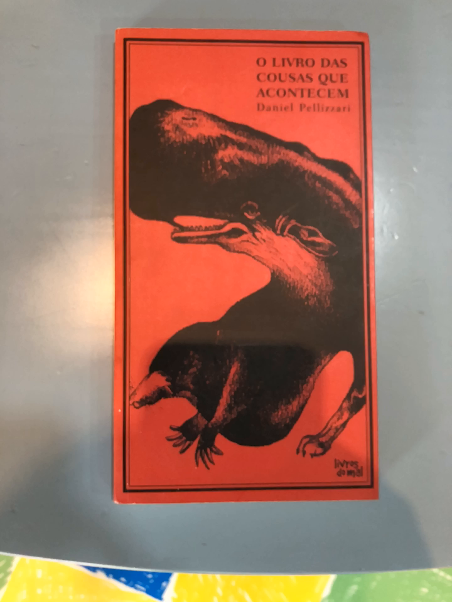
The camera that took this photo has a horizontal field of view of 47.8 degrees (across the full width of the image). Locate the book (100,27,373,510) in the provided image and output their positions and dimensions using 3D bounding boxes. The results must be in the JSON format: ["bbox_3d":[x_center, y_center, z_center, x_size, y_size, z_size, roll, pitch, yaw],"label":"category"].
[{"bbox_3d":[0.003,-0.016,0.219,0.110,0.016,0.200,-1,87,-2],"label":"book"}]
